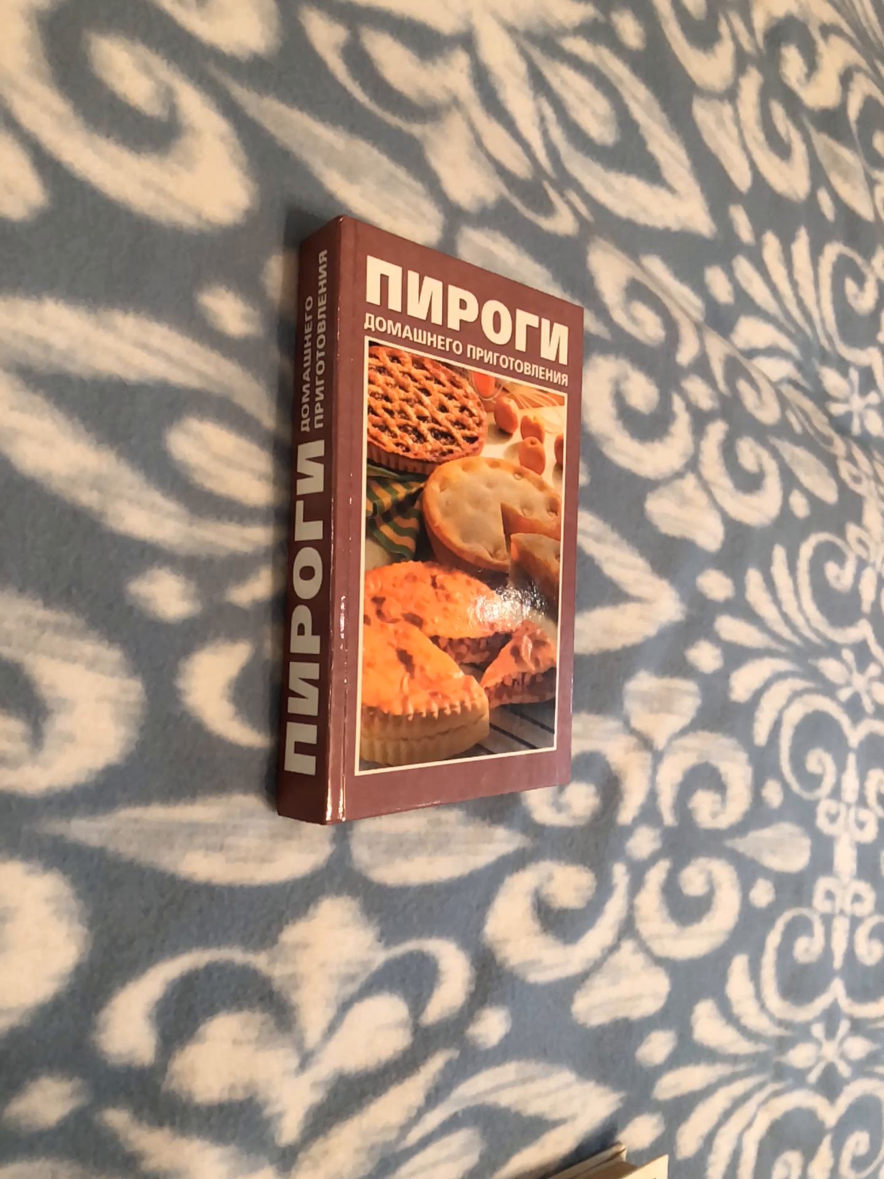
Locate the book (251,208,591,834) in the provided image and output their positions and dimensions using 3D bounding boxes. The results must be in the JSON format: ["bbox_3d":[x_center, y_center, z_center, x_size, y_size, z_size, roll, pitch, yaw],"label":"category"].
[{"bbox_3d":[-0.002,-0.020,0.372,0.132,0.040,0.200,4,87,-45],"label":"book"}]
